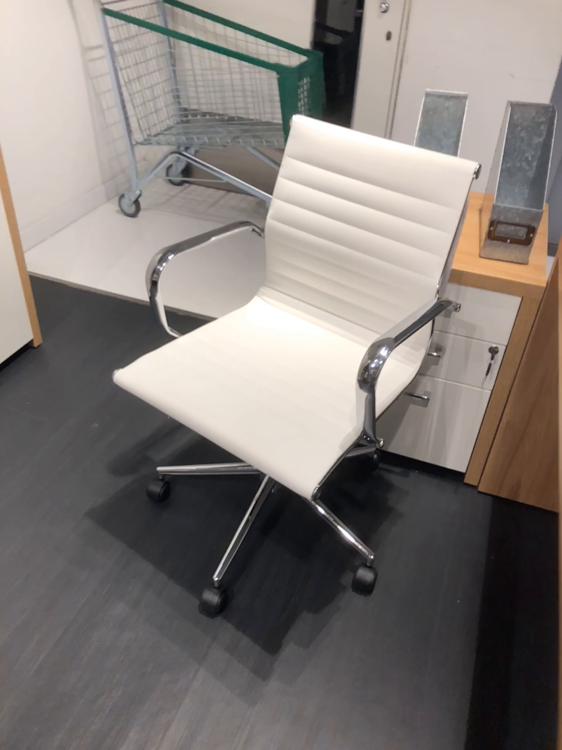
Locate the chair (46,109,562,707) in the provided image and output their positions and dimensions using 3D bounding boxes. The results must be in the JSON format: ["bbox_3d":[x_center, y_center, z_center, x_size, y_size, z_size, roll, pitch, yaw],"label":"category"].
[{"bbox_3d":[0.063,0.016,1.432,0.652,0.952,0.764,28,43,29],"label":"chair"}]
